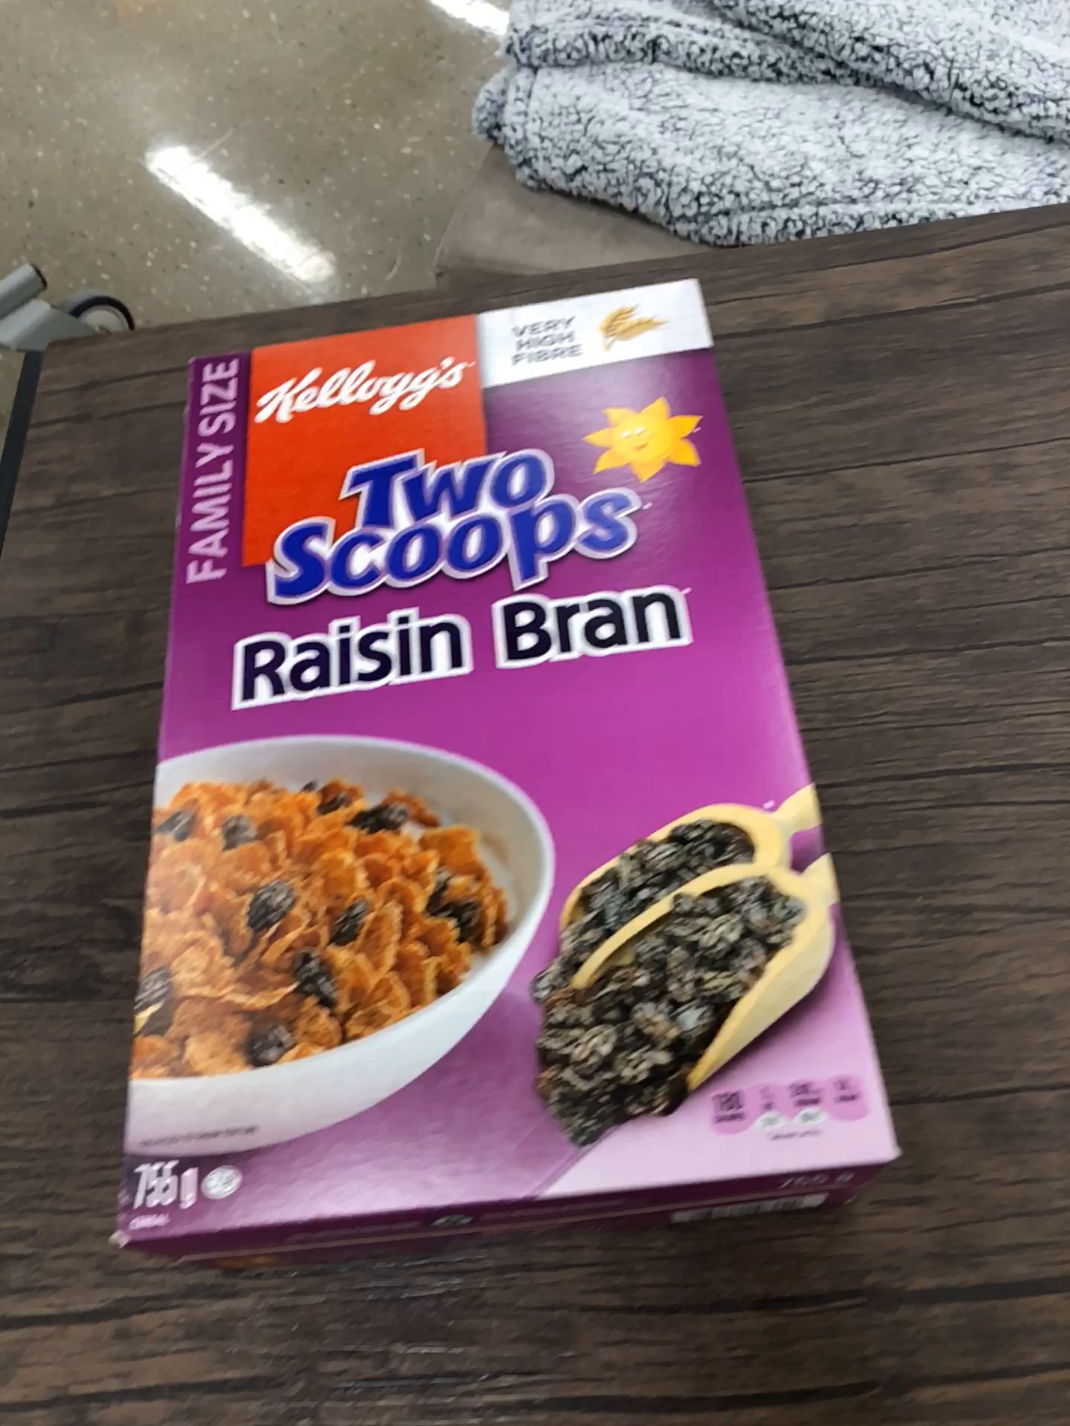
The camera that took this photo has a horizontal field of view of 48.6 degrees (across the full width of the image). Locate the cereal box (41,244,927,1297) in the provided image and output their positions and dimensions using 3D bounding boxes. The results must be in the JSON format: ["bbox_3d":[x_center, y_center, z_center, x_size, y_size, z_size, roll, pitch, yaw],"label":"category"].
[{"bbox_3d":[-0.024,0.002,0.392,0.210,0.080,0.320,-8,60,3],"label":"cereal box"}]
